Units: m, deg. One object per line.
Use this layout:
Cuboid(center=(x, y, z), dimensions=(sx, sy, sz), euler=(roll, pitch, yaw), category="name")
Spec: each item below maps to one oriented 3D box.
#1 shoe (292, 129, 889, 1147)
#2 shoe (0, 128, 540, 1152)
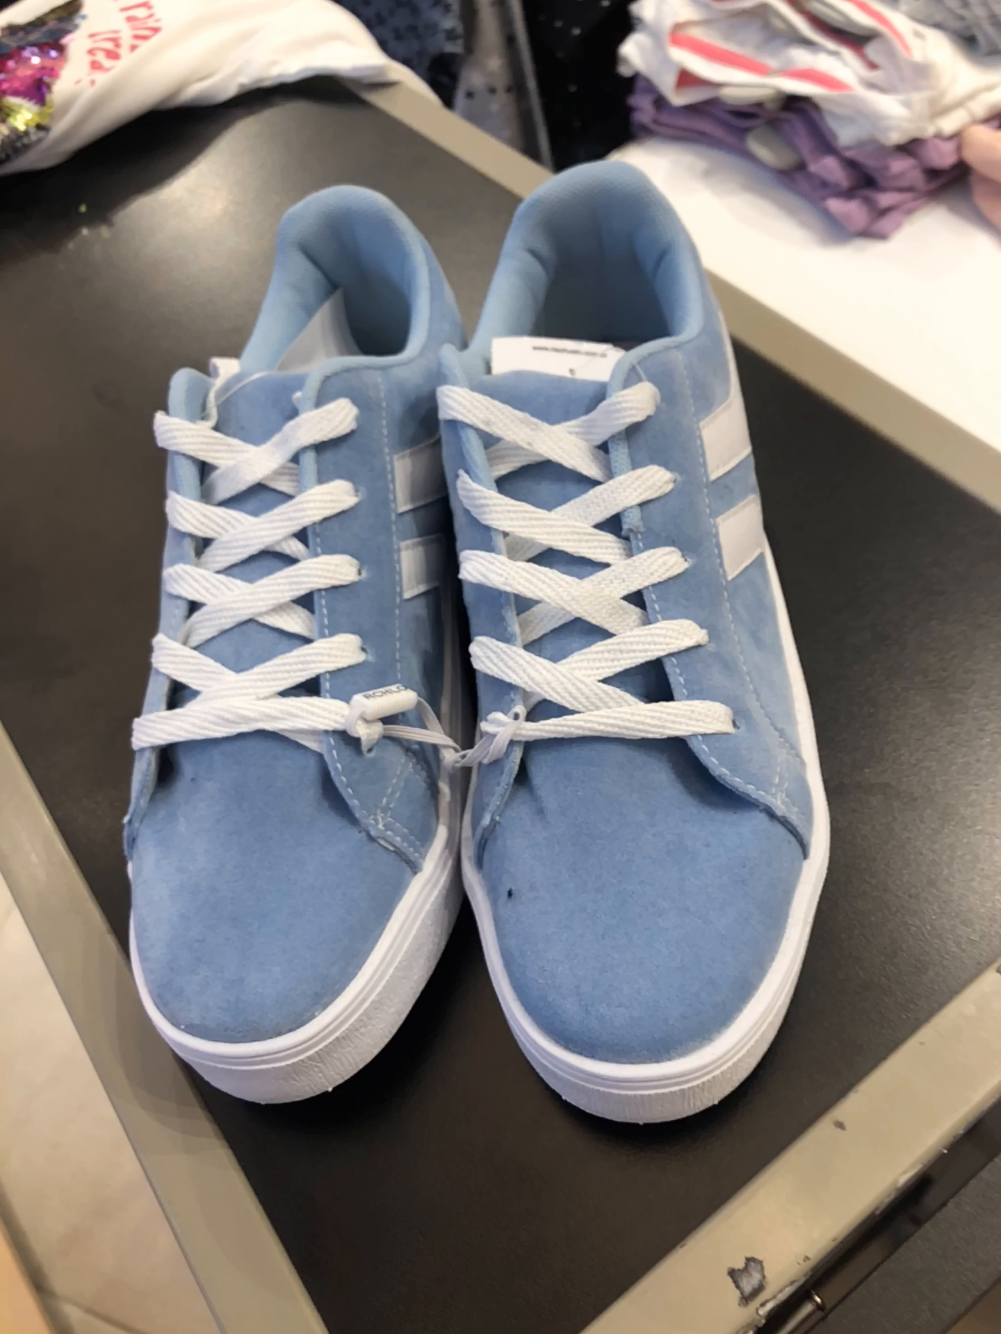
Cuboid(center=(0.026, -0.012, 0.302), dimensions=(0.100, 0.119, 0.241), euler=(-6, 56, 10), category="shoe")
Cuboid(center=(-0.054, -0.012, 0.300), dimensions=(0.100, 0.119, 0.241), euler=(-3, 56, 11), category="shoe")
